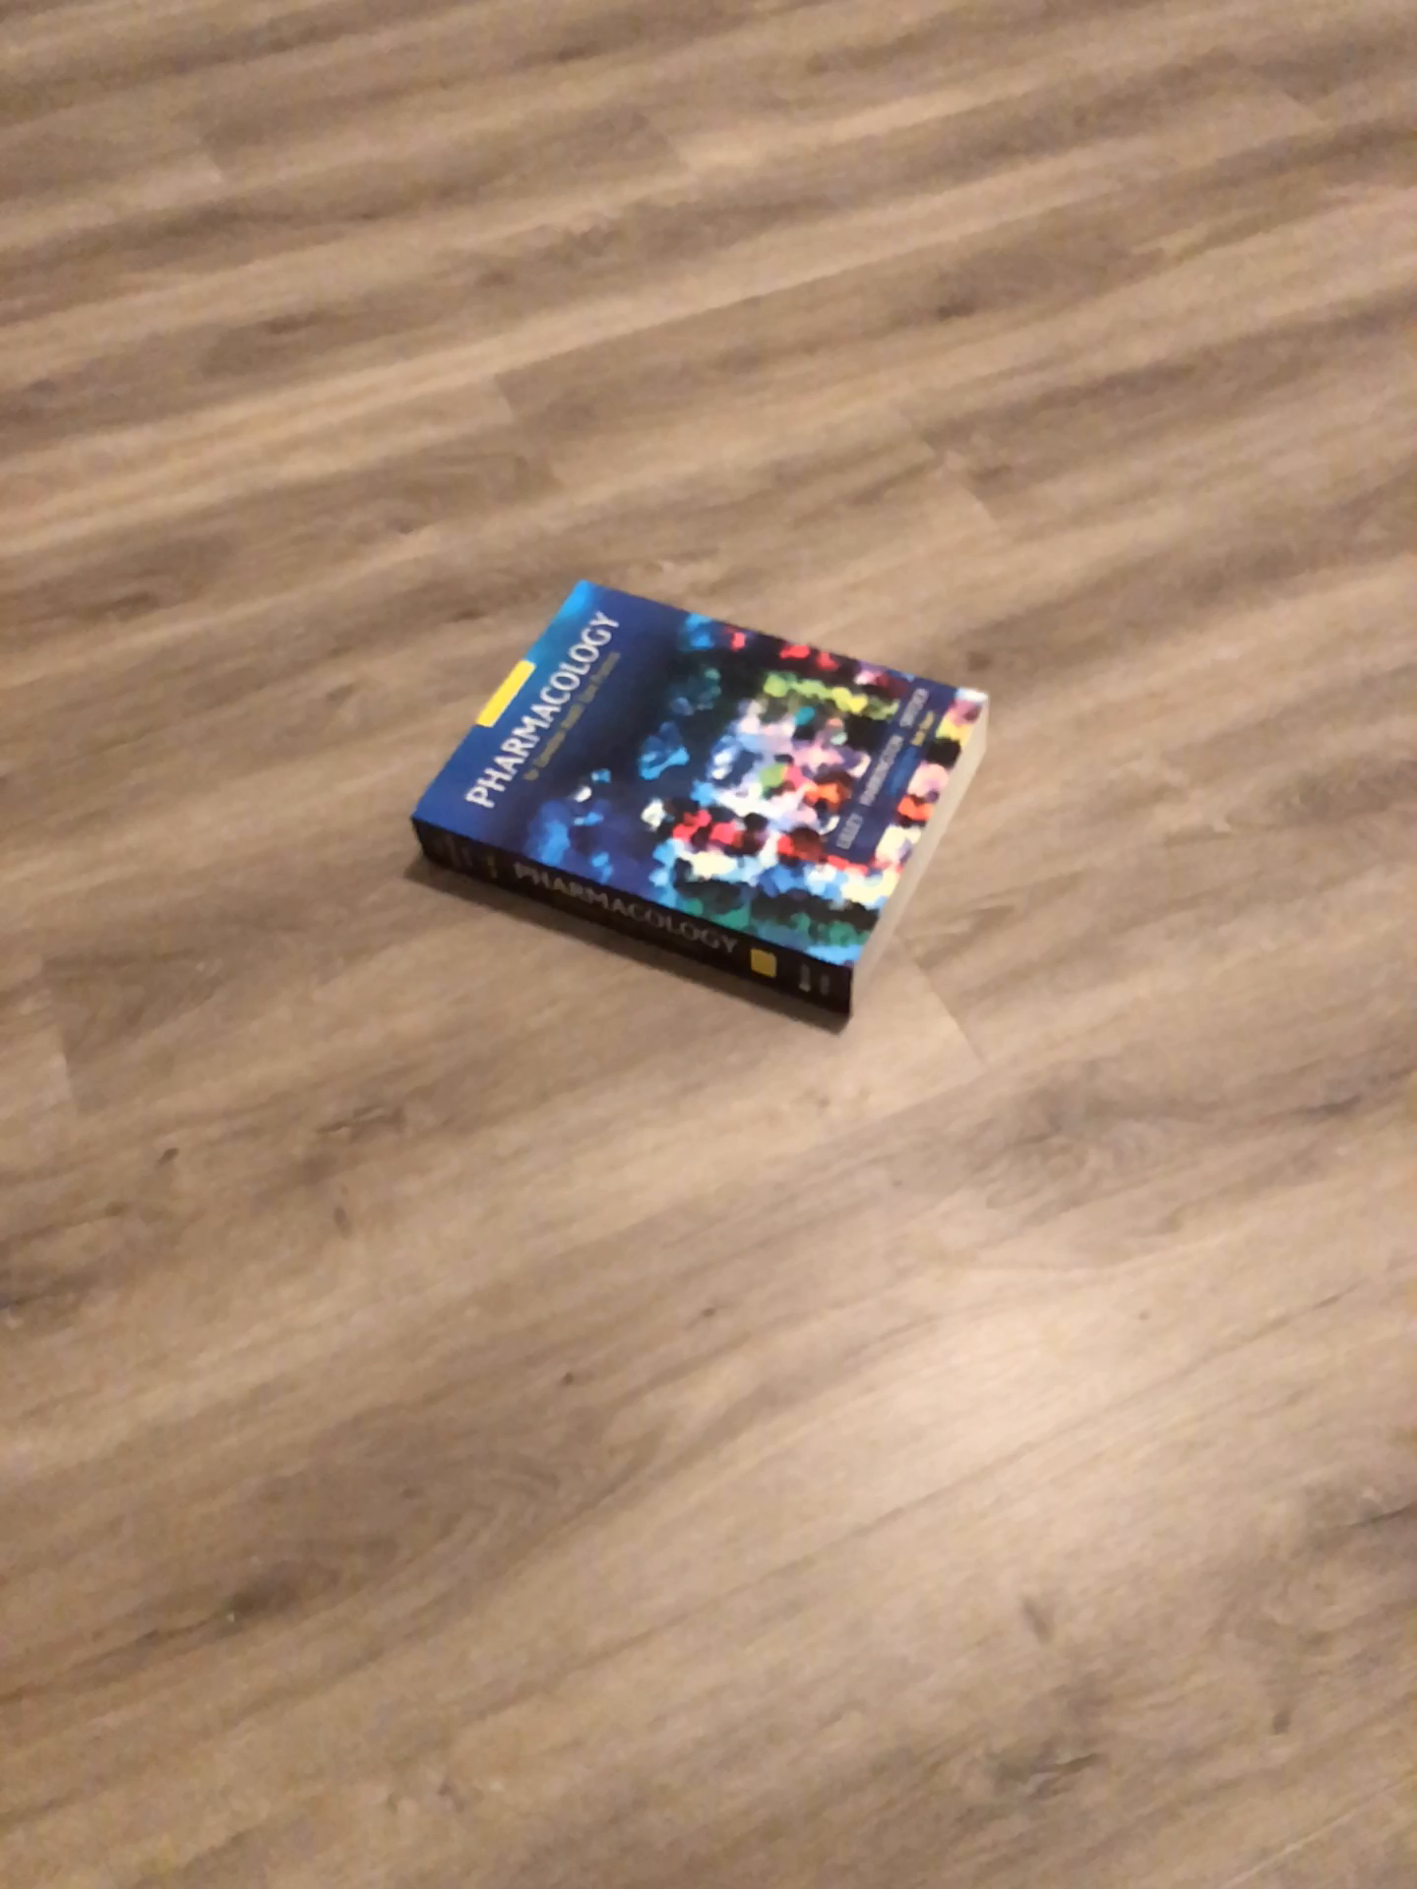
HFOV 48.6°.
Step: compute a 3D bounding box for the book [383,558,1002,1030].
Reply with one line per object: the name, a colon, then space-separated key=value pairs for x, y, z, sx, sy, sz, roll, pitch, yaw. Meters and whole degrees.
book: x=-0.004 y=-0.098 z=0.897 sx=0.277 sy=0.046 sz=0.229 roll=19 pitch=57 yaw=16
